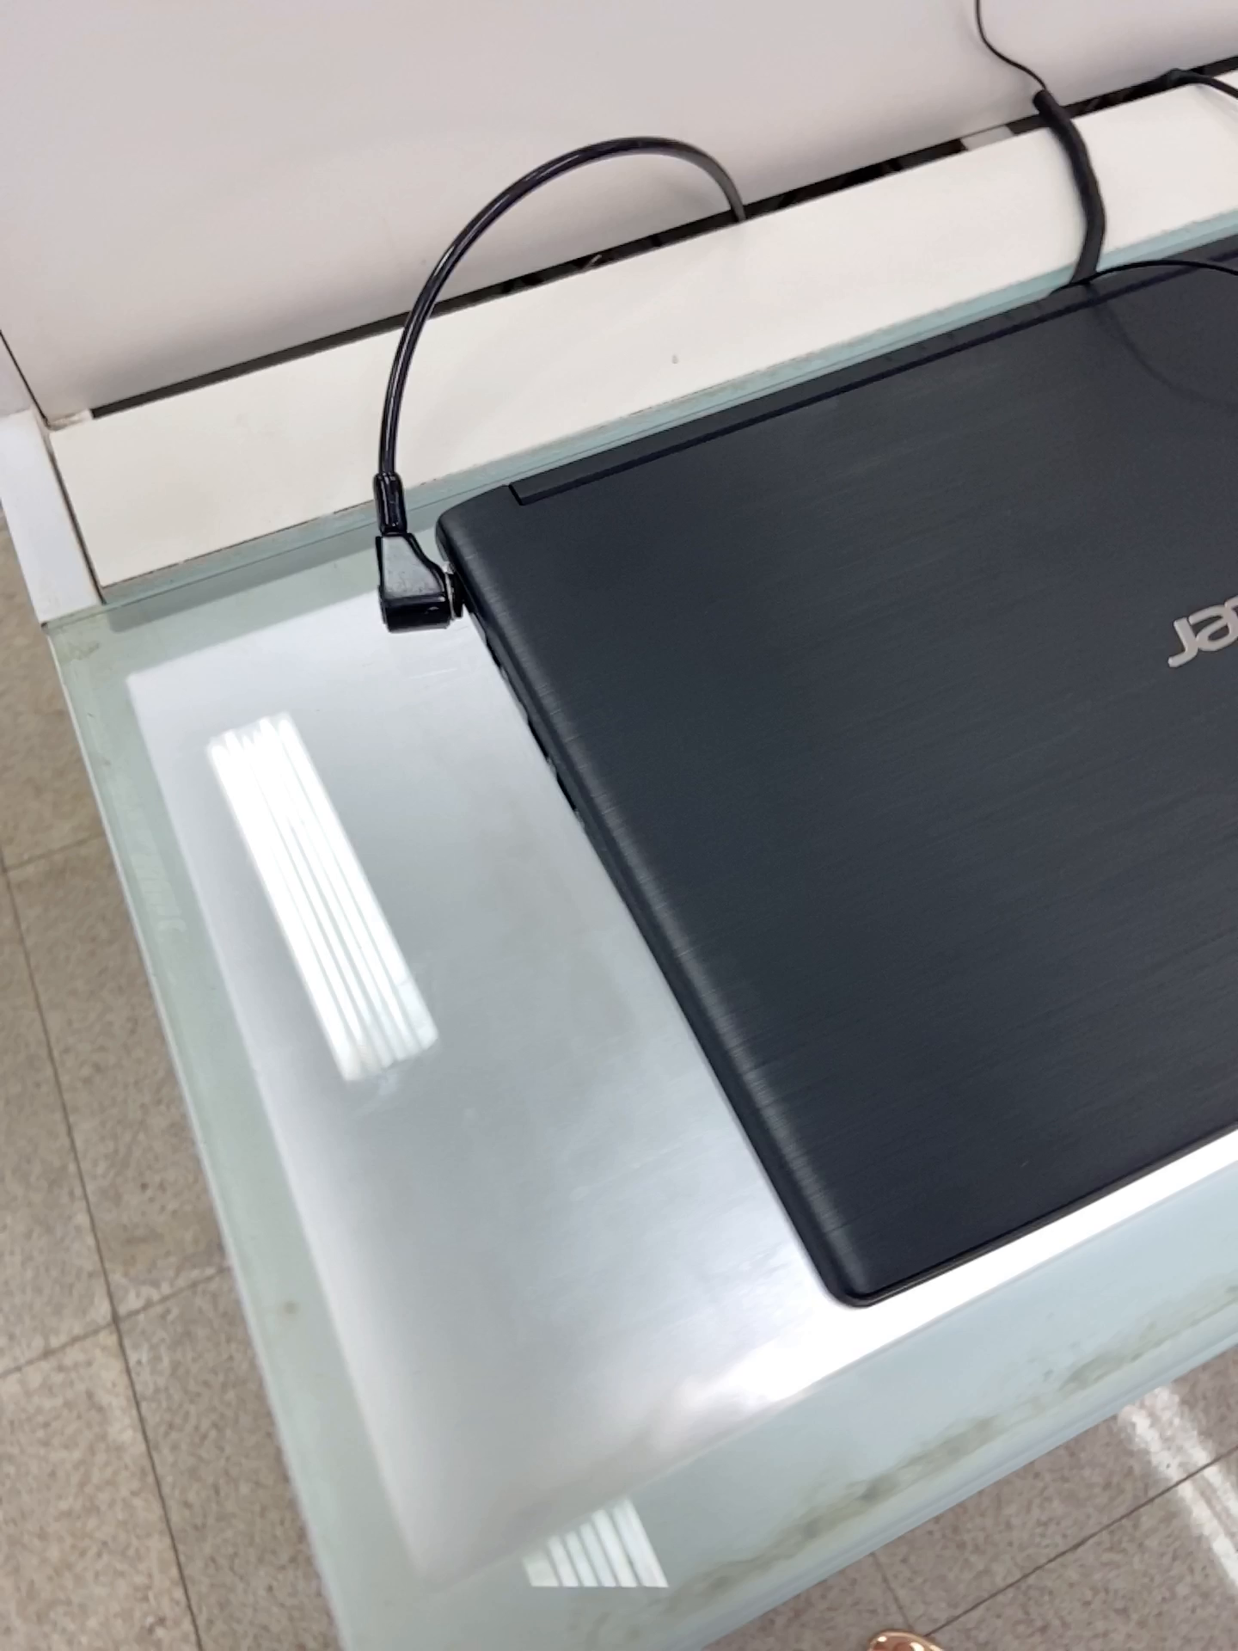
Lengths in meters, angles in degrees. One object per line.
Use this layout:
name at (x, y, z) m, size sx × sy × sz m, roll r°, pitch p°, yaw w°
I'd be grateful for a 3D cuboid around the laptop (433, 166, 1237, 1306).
laptop at (0.171, -0.070, 0.363) m, size 0.387 × 0.001 × 0.248 m, roll -23°, pitch 61°, yaw -12°
